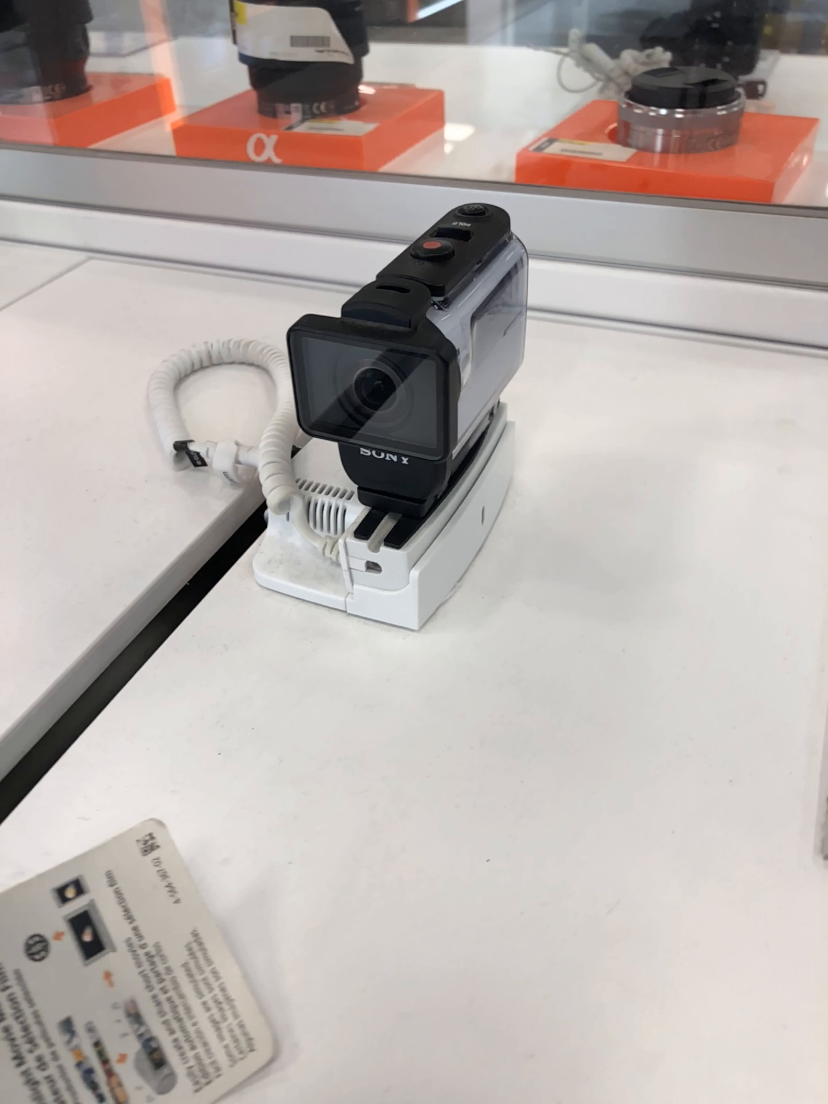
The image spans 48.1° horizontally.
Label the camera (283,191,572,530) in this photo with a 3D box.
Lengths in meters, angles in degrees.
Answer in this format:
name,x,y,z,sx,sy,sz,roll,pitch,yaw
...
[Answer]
name,x,y,z,sx,sy,sz,roll,pitch,yaw
camera,0.009,-0.061,0.275,0.050,0.060,0.090,13,40,19
